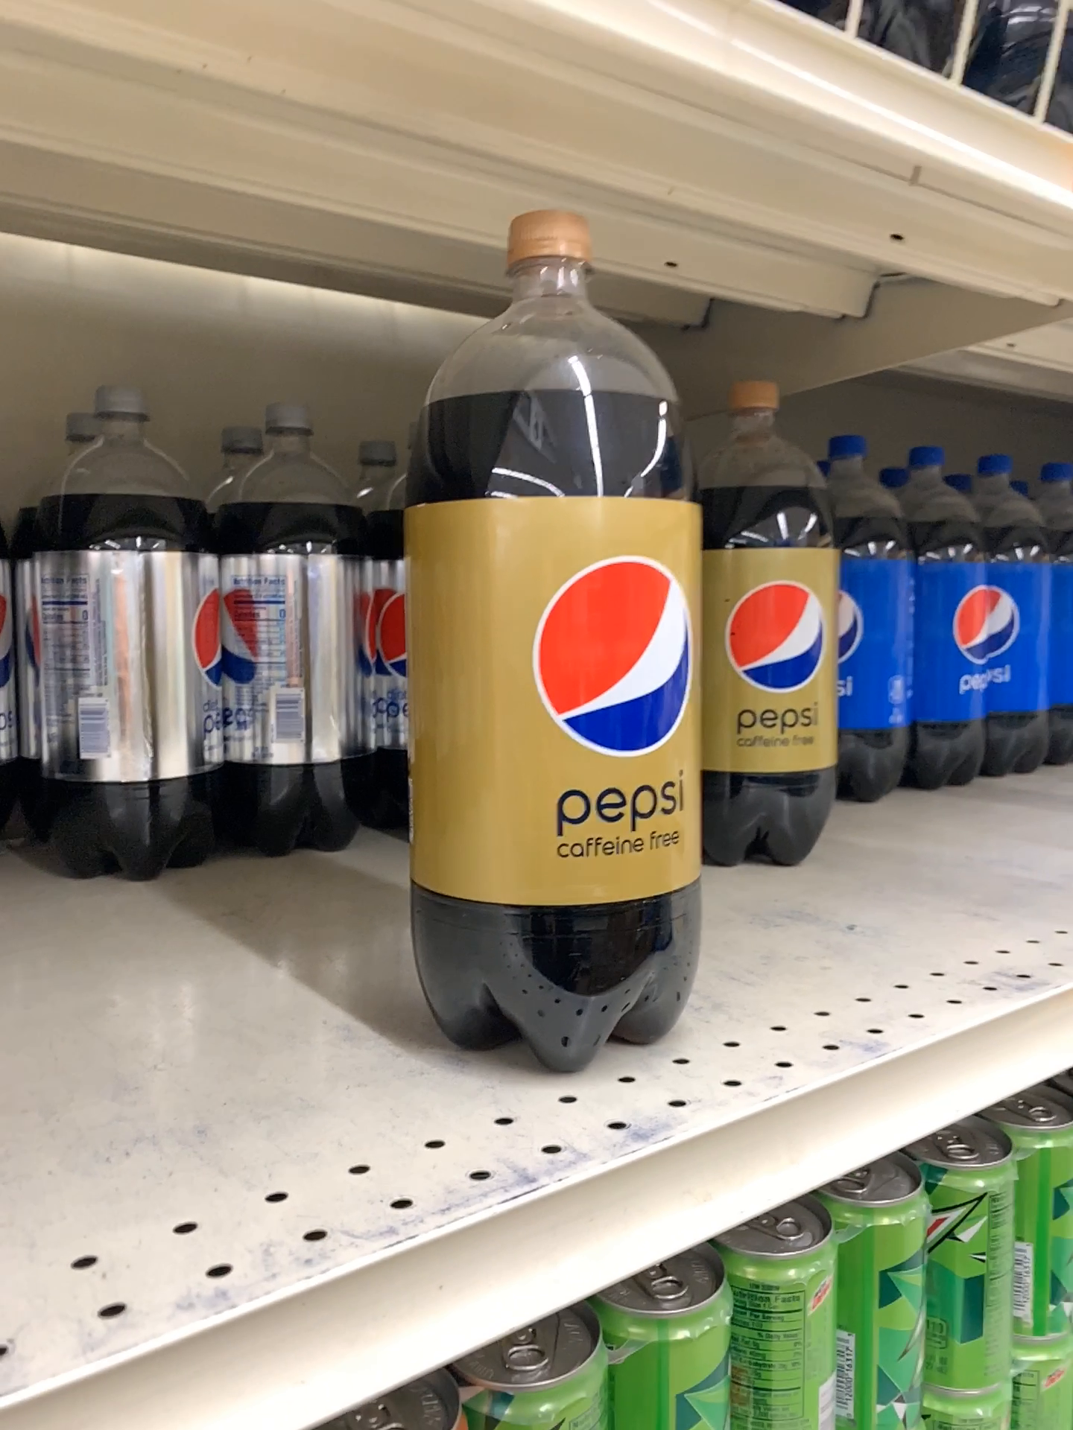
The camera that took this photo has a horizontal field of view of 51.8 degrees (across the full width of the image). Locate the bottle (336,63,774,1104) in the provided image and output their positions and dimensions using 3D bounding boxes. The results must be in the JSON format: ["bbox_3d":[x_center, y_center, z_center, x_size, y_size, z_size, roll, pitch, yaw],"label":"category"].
[{"bbox_3d":[0.003,-0.040,0.395,0.110,0.300,0.110,0,5,0],"label":"bottle"}]
